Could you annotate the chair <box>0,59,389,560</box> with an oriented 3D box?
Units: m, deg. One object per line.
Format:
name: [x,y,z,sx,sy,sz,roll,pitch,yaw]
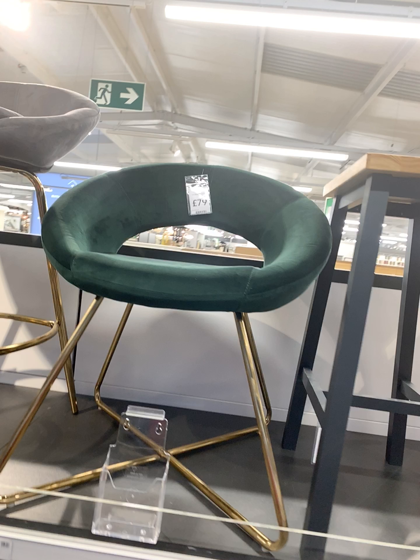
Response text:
chair: [-0.069,0.023,0.985,0.634,0.700,0.669,7,4,5]
